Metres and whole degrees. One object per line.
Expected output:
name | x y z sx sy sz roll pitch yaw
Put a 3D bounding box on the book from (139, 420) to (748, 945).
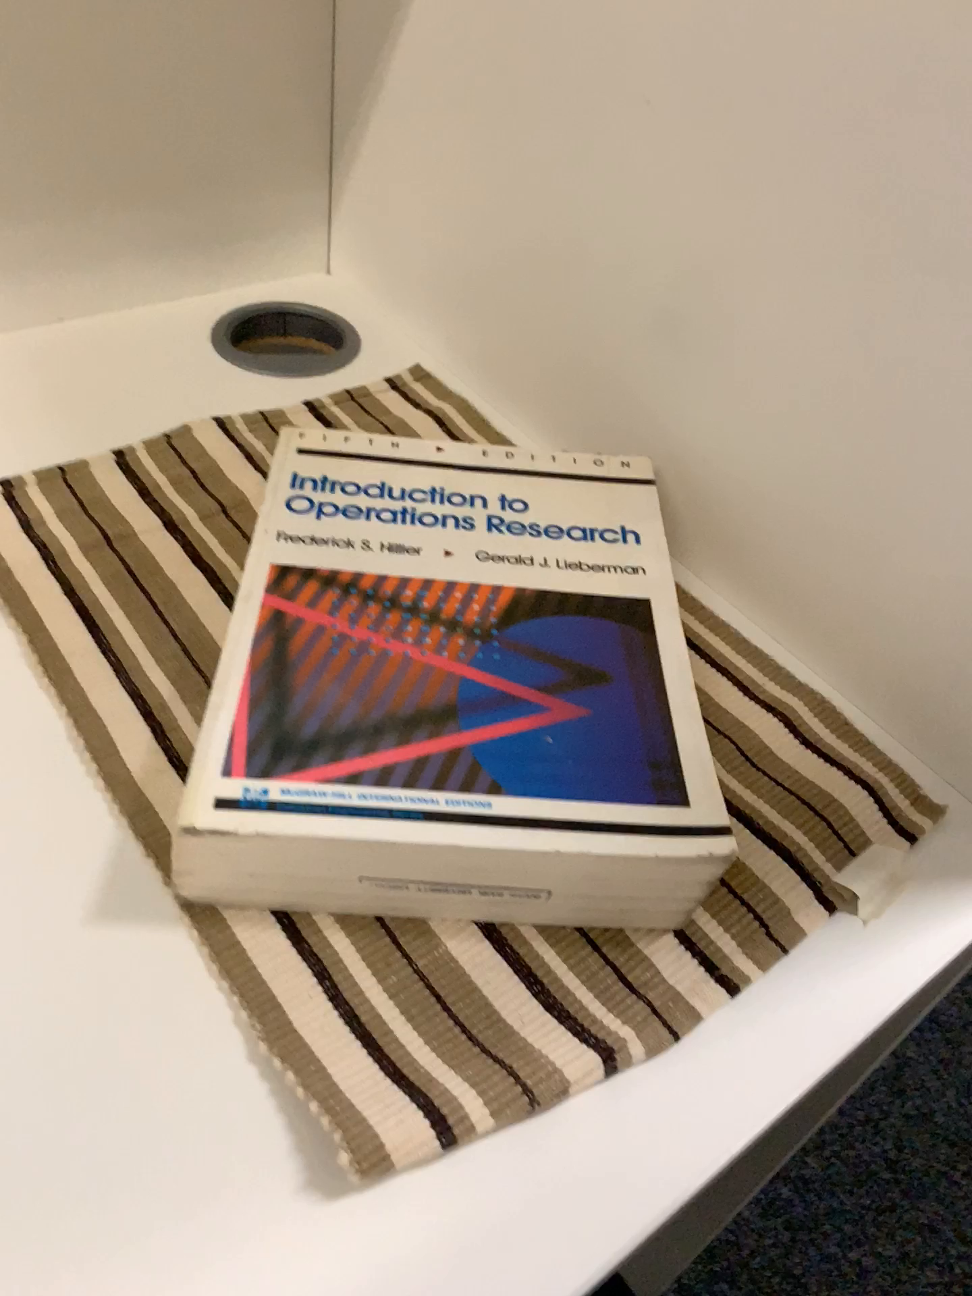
book | -0.014 -0.001 0.422 0.196 0.052 0.235 5 44 -5
